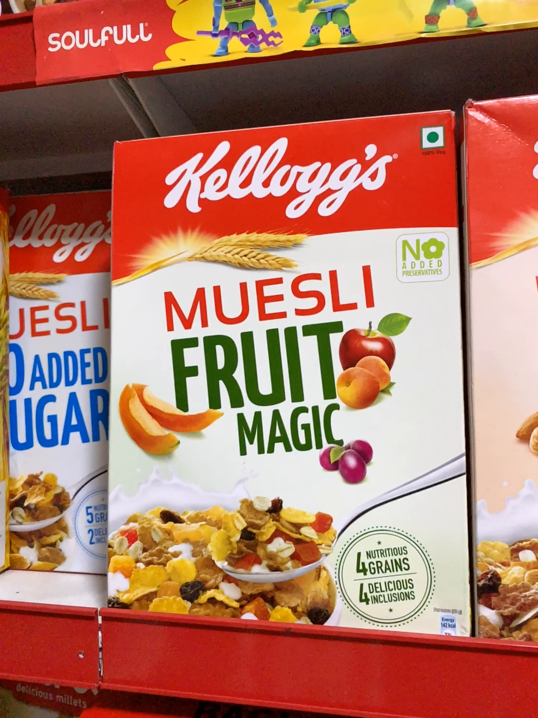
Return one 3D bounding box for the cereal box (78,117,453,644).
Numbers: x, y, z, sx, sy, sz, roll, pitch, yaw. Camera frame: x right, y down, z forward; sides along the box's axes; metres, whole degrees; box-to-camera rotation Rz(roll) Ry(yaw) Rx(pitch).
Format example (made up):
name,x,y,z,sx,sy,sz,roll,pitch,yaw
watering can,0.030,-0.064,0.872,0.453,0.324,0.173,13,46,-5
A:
name,x,y,z,sx,sy,sz,roll,pitch,yaw
cereal box,-0.003,0.009,0.301,0.180,0.240,0.060,-1,-3,10
